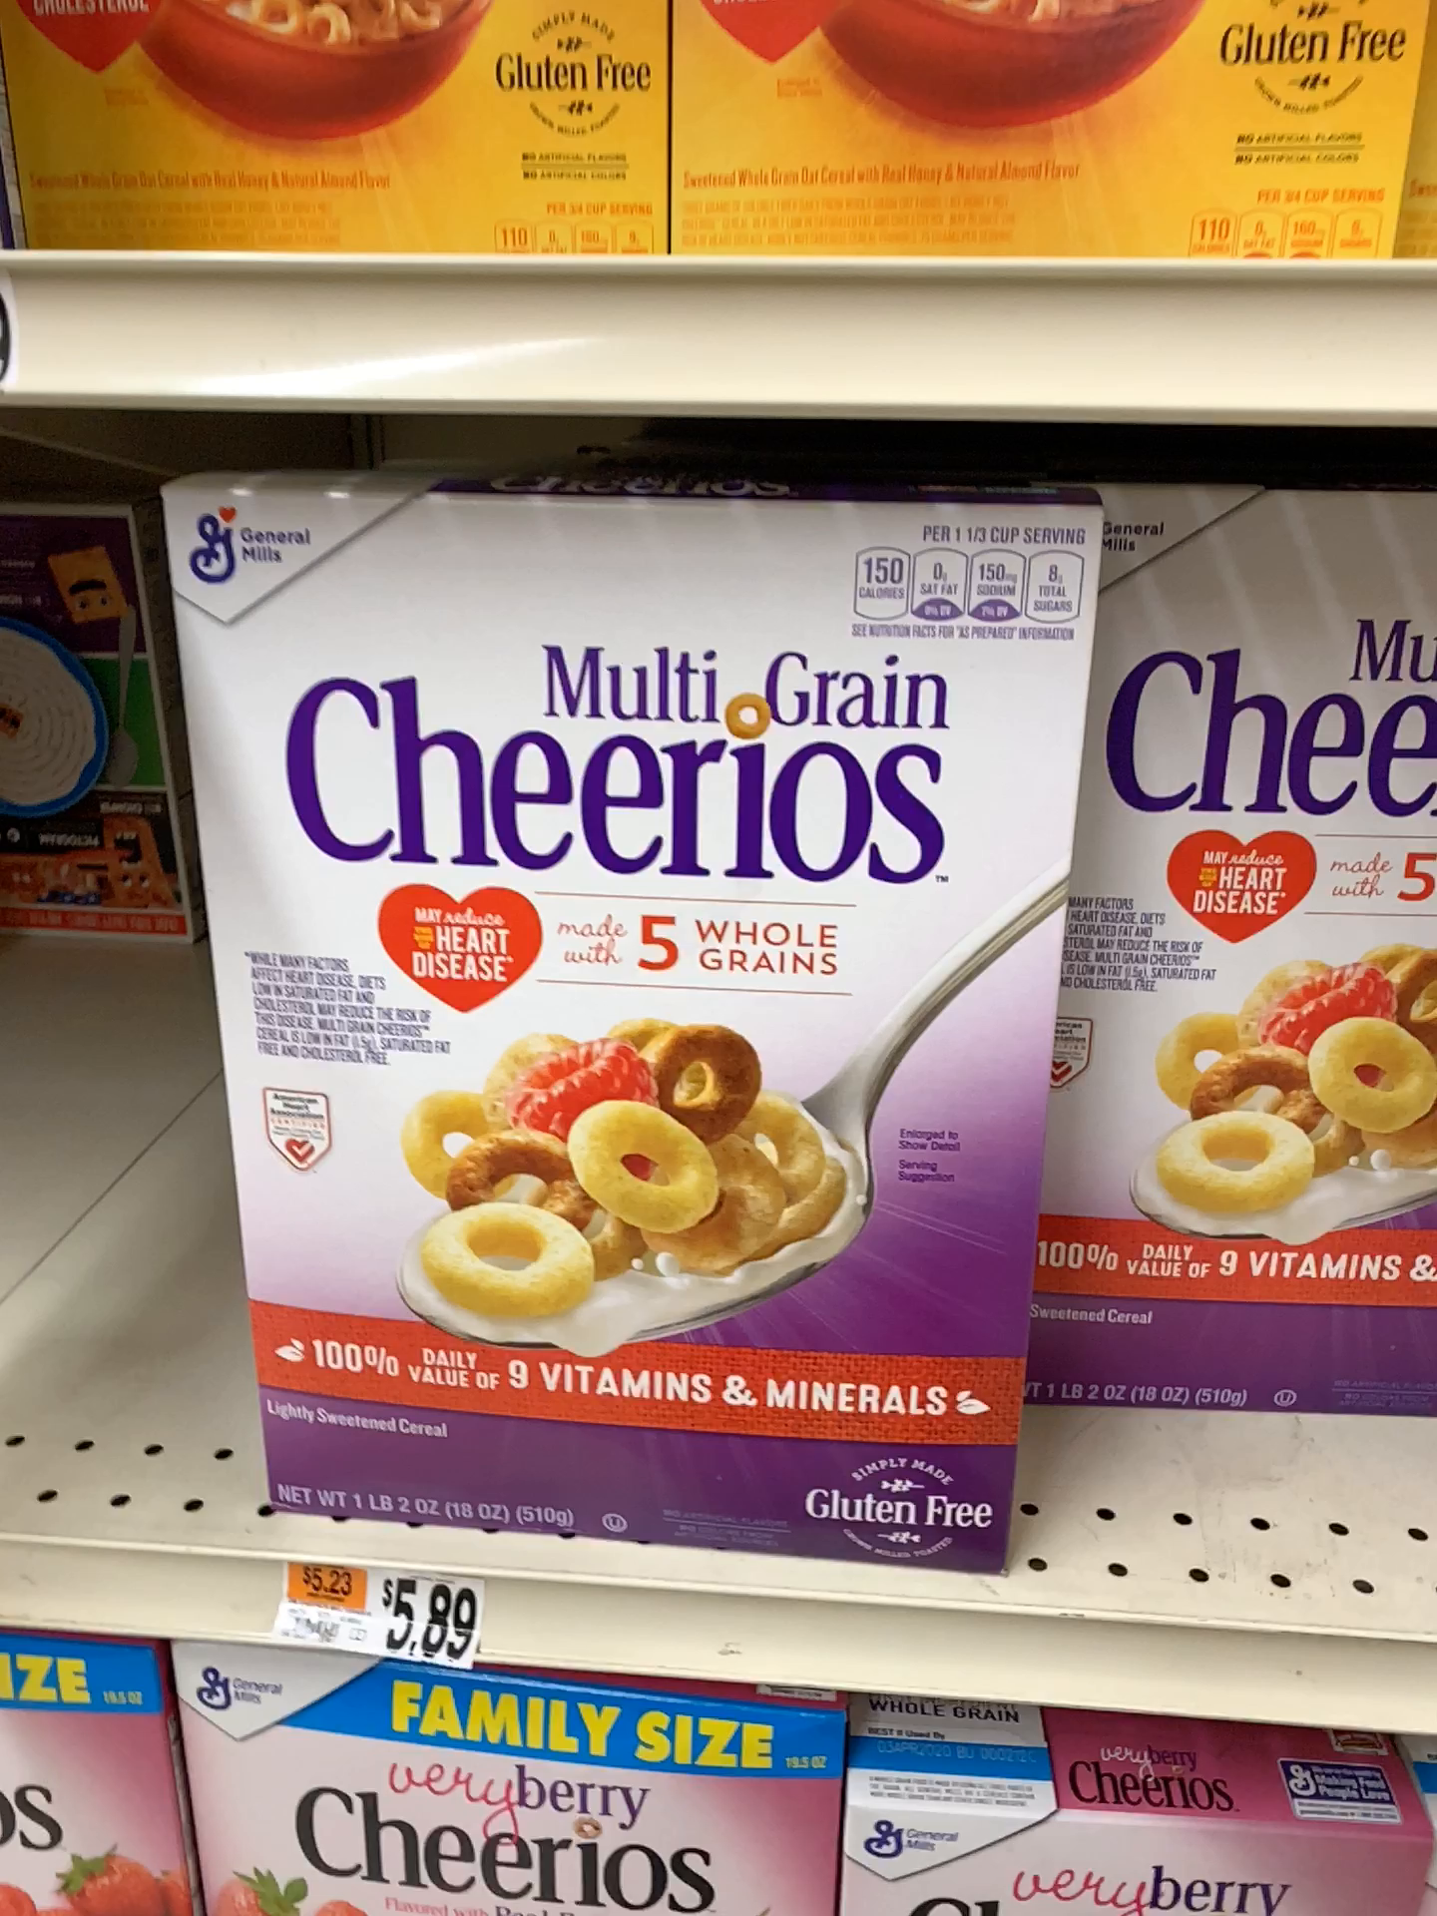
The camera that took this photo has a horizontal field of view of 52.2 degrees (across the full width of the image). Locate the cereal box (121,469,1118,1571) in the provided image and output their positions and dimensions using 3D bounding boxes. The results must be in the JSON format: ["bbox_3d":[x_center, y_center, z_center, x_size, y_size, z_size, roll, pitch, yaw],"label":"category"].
[{"bbox_3d":[-0.027,0.021,0.447,0.250,0.319,0.070,3,19,5],"label":"cereal box"}]
